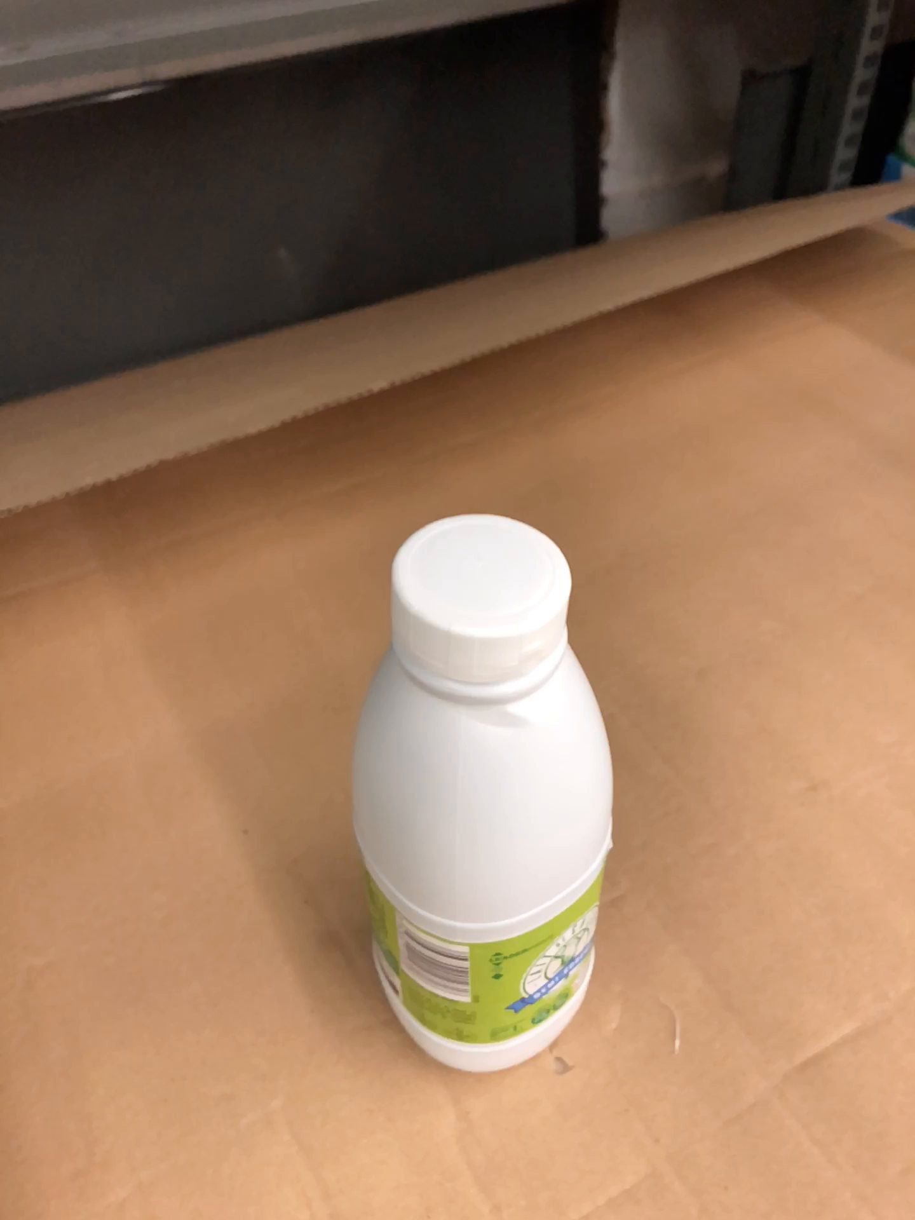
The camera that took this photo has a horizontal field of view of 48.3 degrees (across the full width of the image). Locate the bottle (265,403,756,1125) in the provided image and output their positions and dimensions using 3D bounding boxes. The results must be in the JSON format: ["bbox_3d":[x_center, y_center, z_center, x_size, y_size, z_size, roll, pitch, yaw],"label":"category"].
[{"bbox_3d":[0.016,0.067,0.349,0.100,0.238,0.080,-32,52,-27],"label":"bottle"}]
